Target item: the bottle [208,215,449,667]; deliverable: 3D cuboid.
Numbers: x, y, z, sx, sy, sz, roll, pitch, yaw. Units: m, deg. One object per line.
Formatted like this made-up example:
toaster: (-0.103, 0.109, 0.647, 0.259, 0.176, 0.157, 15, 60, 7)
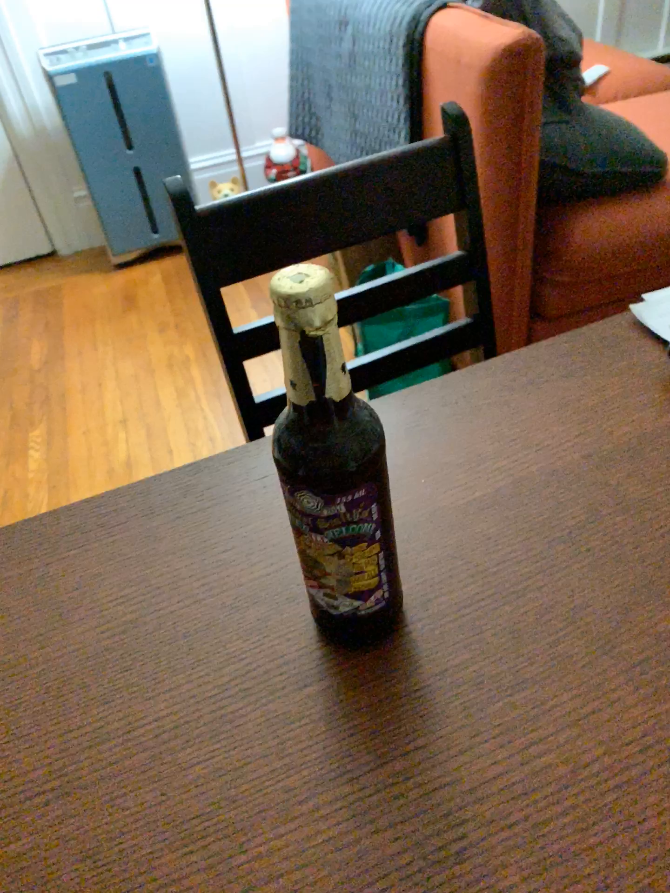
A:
bottle: (0.009, 0.009, 0.364, 0.070, 0.229, 0.070, -5, 41, 4)
